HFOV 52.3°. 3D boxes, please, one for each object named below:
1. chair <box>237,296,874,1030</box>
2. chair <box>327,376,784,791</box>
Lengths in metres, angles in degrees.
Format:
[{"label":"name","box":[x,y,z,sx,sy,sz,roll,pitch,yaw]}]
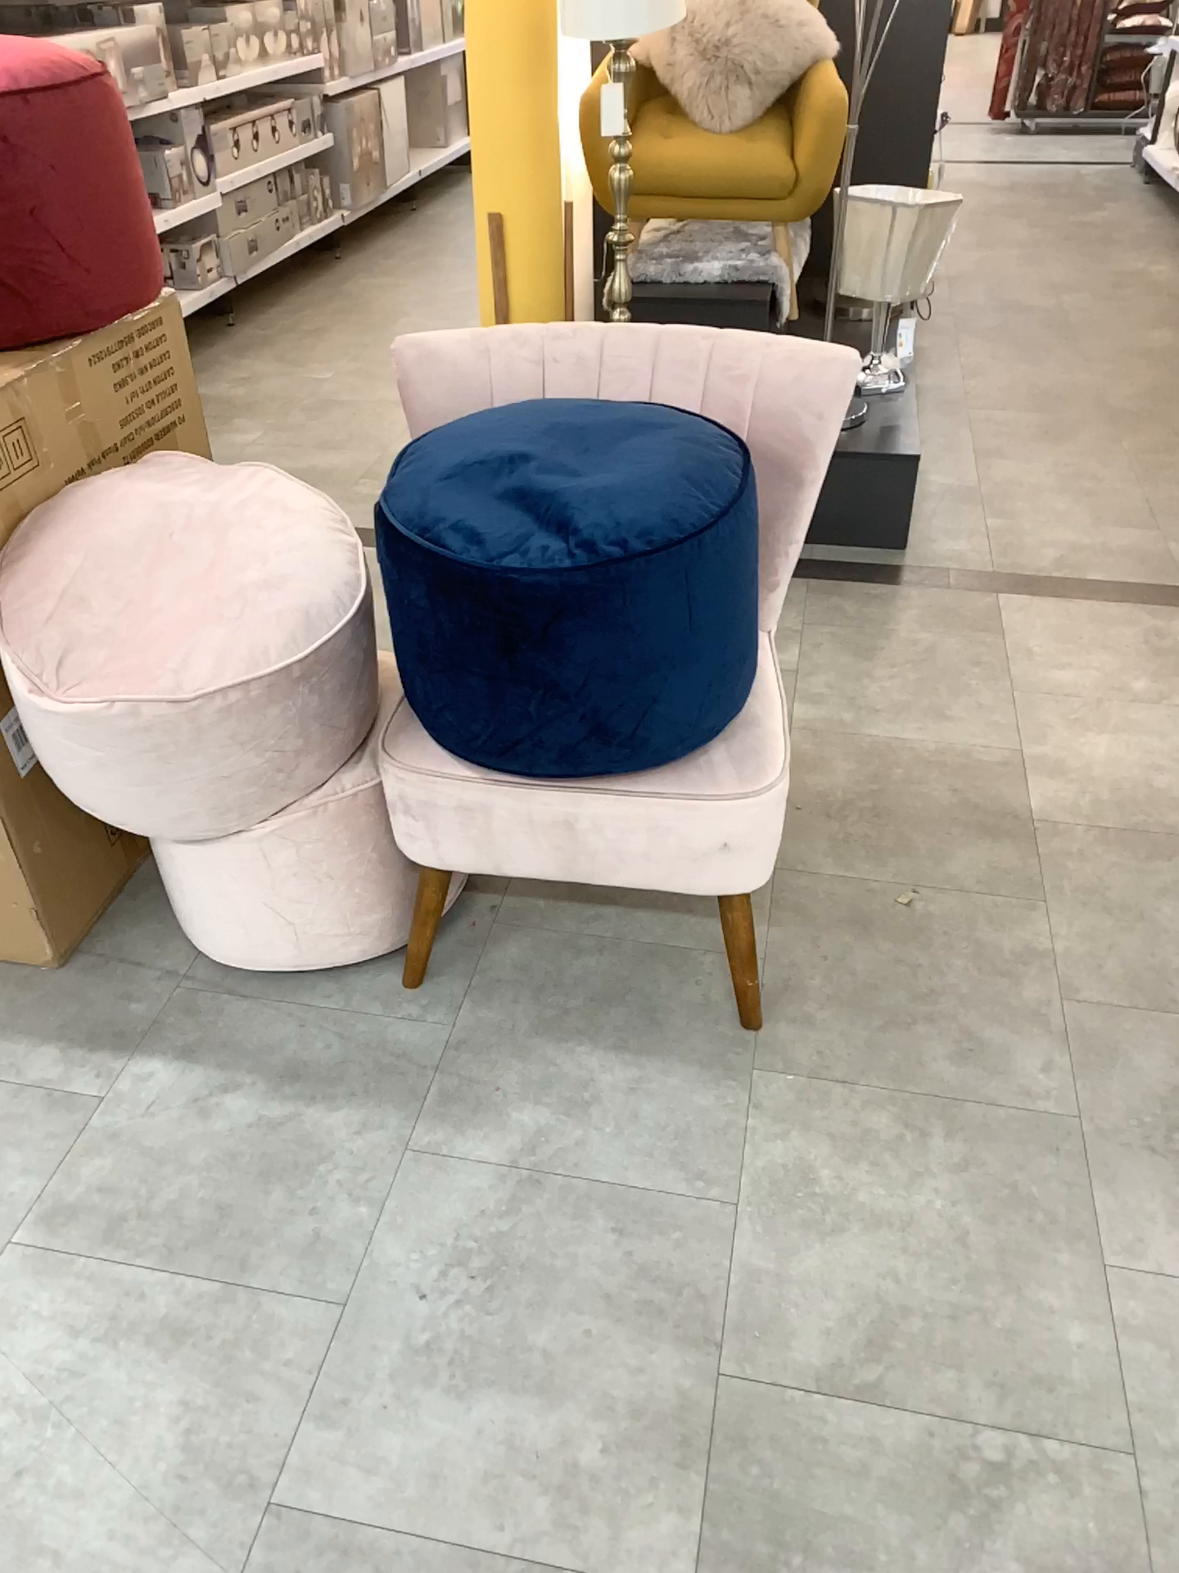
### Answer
[{"label":"chair","box":[0.020,-0.222,1.790,0.690,0.772,0.737,5,36,9]},{"label":"chair","box":[-0.011,-0.299,1.631,0.495,0.340,0.497,5,36,9]}]
